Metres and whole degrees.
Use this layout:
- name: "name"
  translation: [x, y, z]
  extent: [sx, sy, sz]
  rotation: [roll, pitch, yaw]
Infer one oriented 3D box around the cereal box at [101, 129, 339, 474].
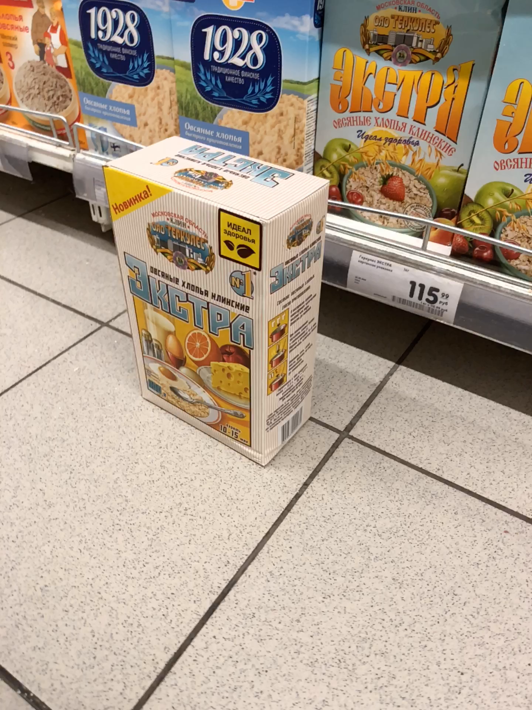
- name: "cereal box"
  translation: [-0.035, -0.040, 0.487]
  extent: [0.150, 0.239, 0.080]
  rotation: [25, 45, 27]
